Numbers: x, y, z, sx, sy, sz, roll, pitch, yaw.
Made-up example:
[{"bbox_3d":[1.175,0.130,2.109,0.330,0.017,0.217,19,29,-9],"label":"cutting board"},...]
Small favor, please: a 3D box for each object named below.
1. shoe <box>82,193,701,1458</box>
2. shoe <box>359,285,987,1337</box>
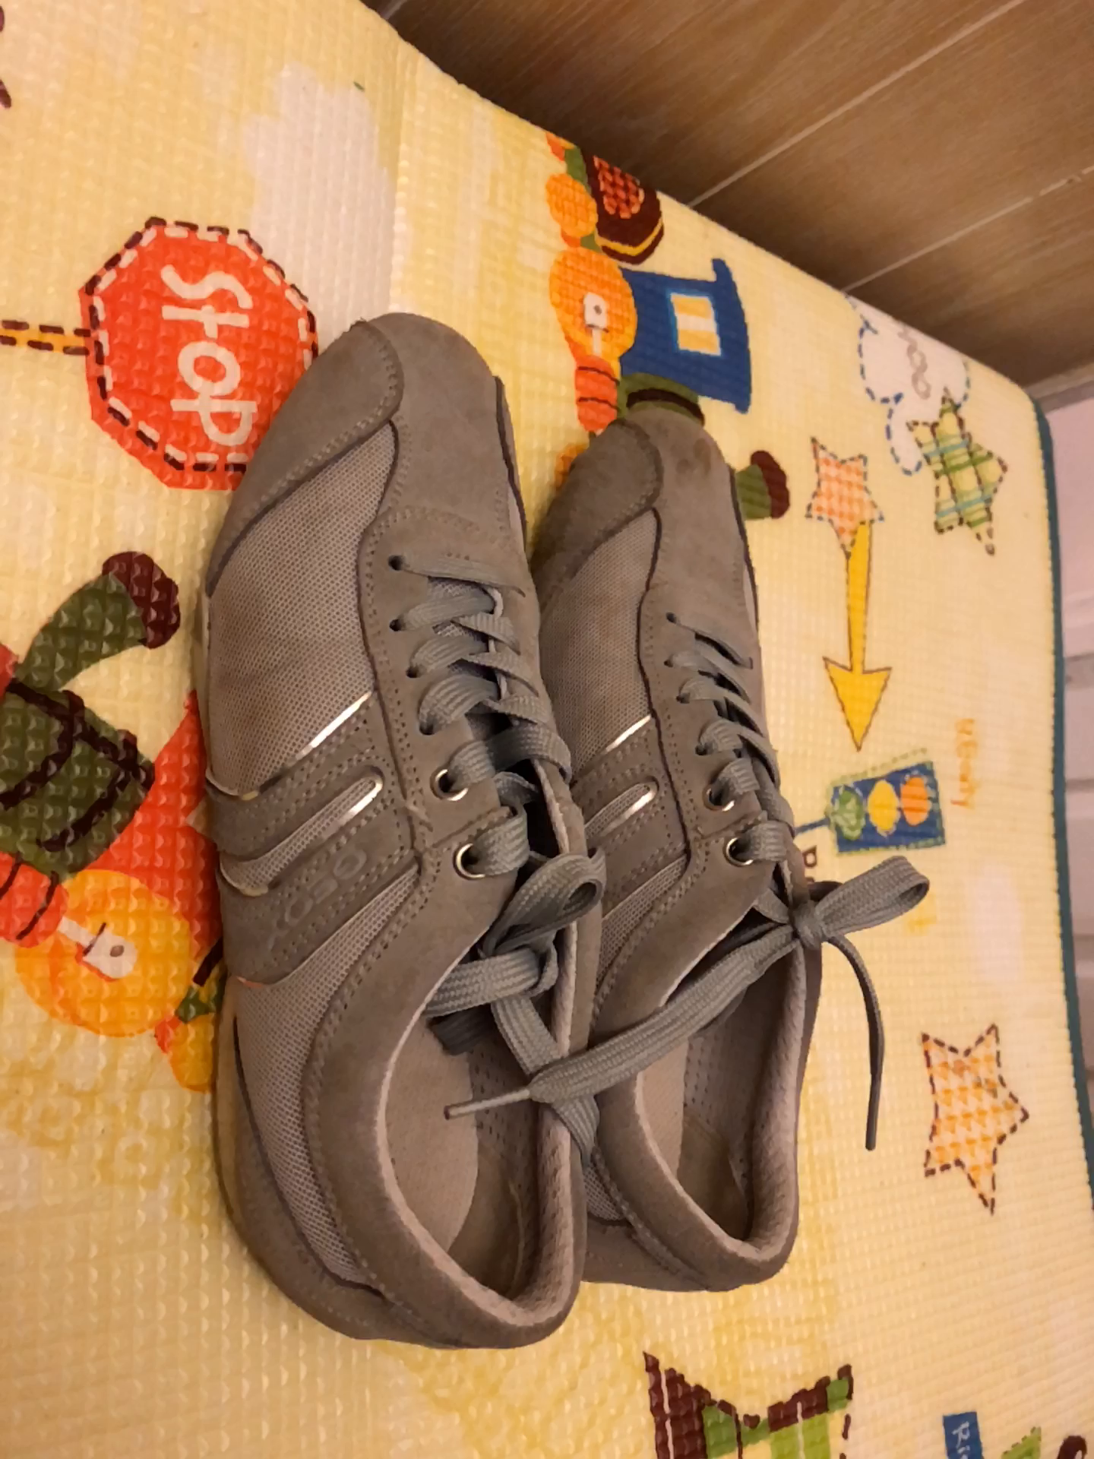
[{"bbox_3d":[-0.040,0.020,0.292,0.090,0.120,0.230,7,79,-38],"label":"shoe"},{"bbox_3d":[0.037,0.023,0.331,0.090,0.120,0.230,18,72,-36],"label":"shoe"}]
